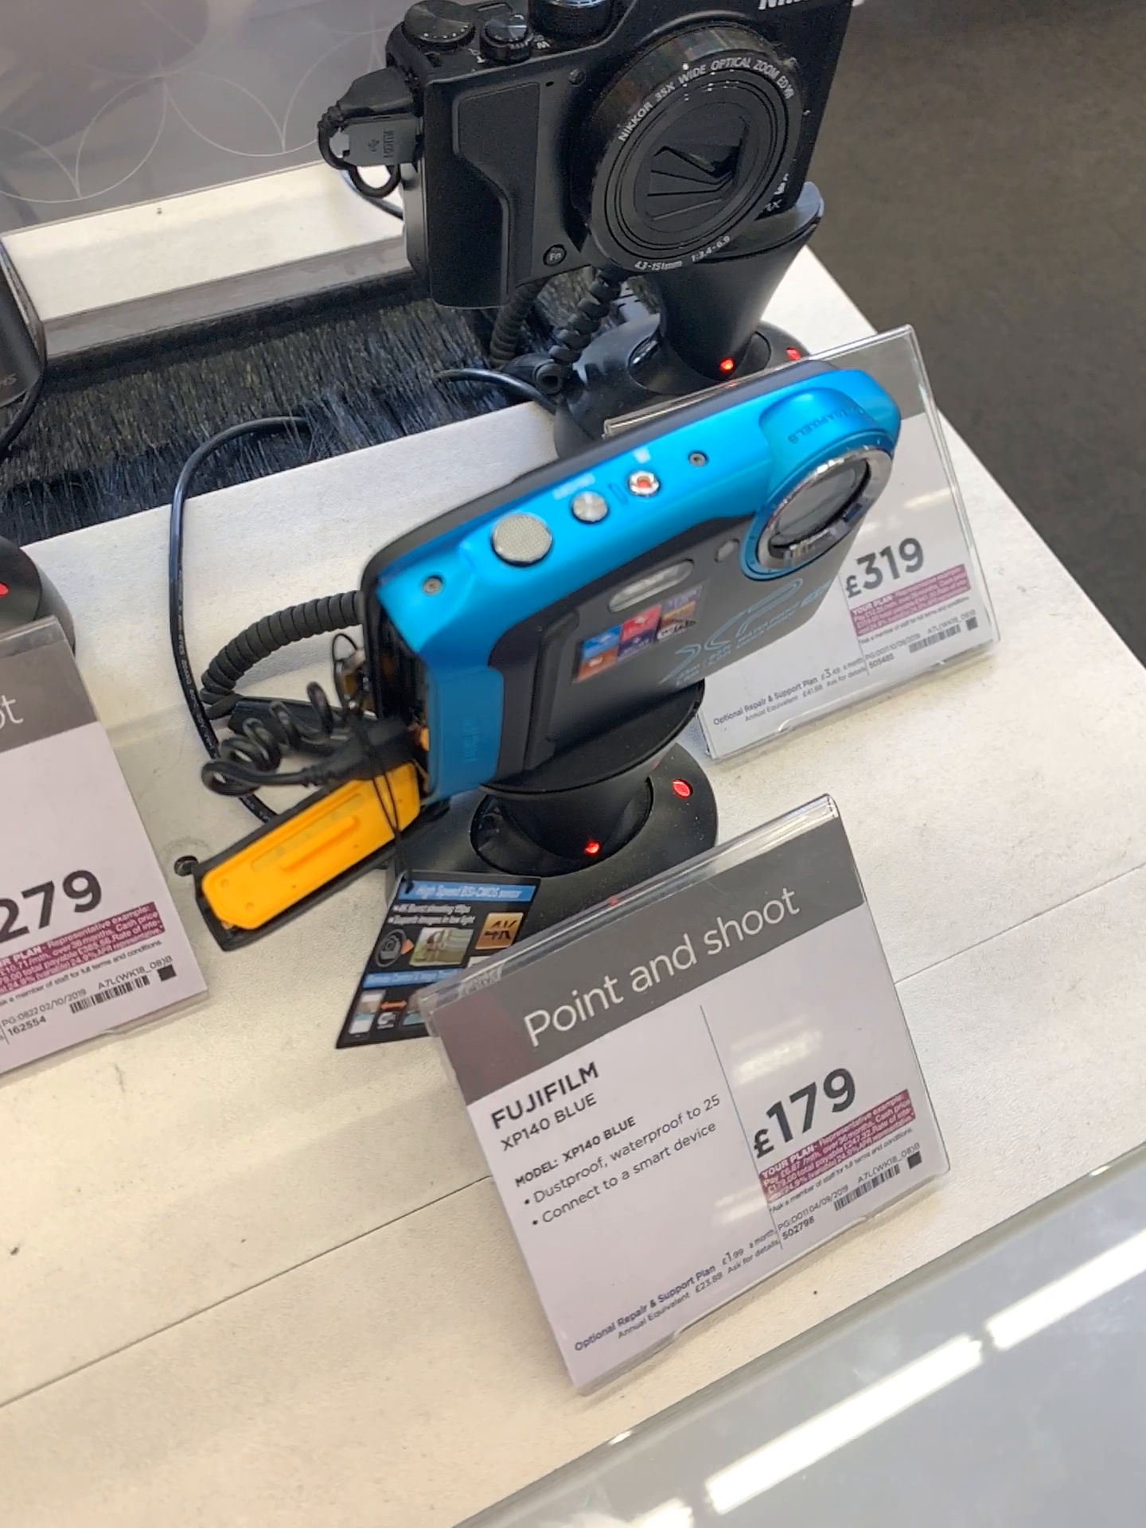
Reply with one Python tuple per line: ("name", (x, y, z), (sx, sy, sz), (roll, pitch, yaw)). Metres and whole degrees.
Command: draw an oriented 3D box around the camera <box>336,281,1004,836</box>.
("camera", (0.017, -0.037, 0.214), (0.110, 0.060, 0.030), (-28, 67, -19))
